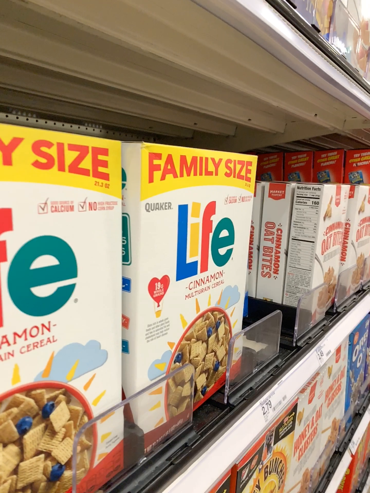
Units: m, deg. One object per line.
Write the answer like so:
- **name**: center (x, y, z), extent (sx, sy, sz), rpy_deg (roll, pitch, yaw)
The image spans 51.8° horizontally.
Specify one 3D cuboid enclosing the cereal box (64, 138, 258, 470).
- **cereal box**: center (-0.014, 0.035, 0.378), extent (0.070, 0.259, 0.190), rpy_deg (11, 14, 38)
